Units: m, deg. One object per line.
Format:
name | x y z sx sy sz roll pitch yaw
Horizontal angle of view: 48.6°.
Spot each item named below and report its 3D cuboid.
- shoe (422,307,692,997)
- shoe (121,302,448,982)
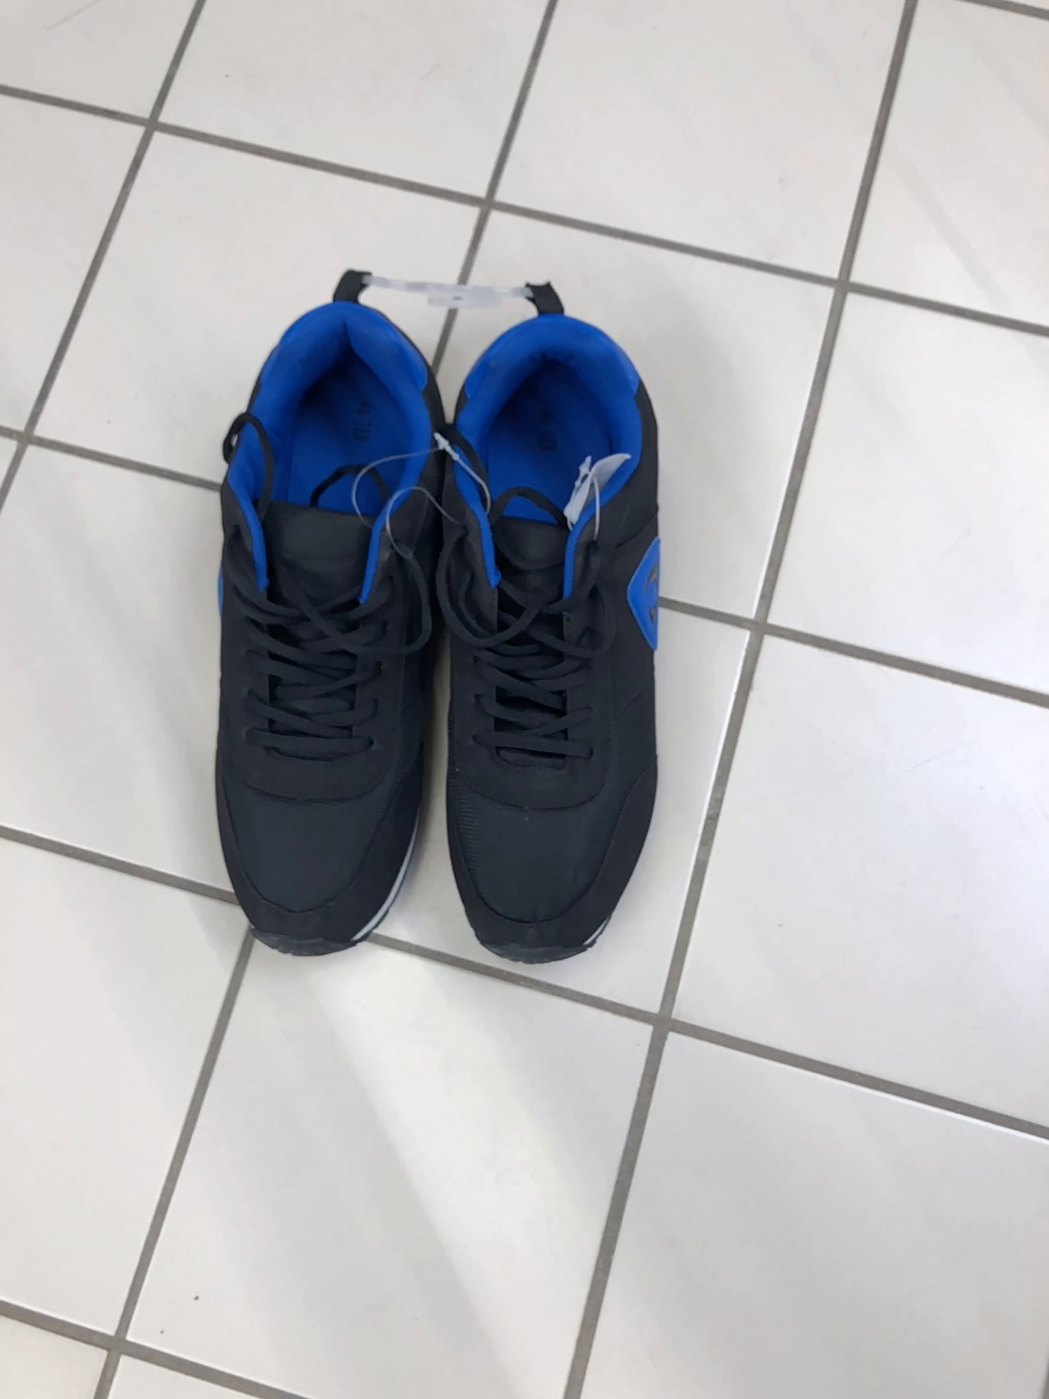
shoe | 0.018 -0.017 0.530 0.100 0.110 0.290 2 77 2
shoe | -0.099 -0.022 0.536 0.100 0.110 0.290 2 77 2
